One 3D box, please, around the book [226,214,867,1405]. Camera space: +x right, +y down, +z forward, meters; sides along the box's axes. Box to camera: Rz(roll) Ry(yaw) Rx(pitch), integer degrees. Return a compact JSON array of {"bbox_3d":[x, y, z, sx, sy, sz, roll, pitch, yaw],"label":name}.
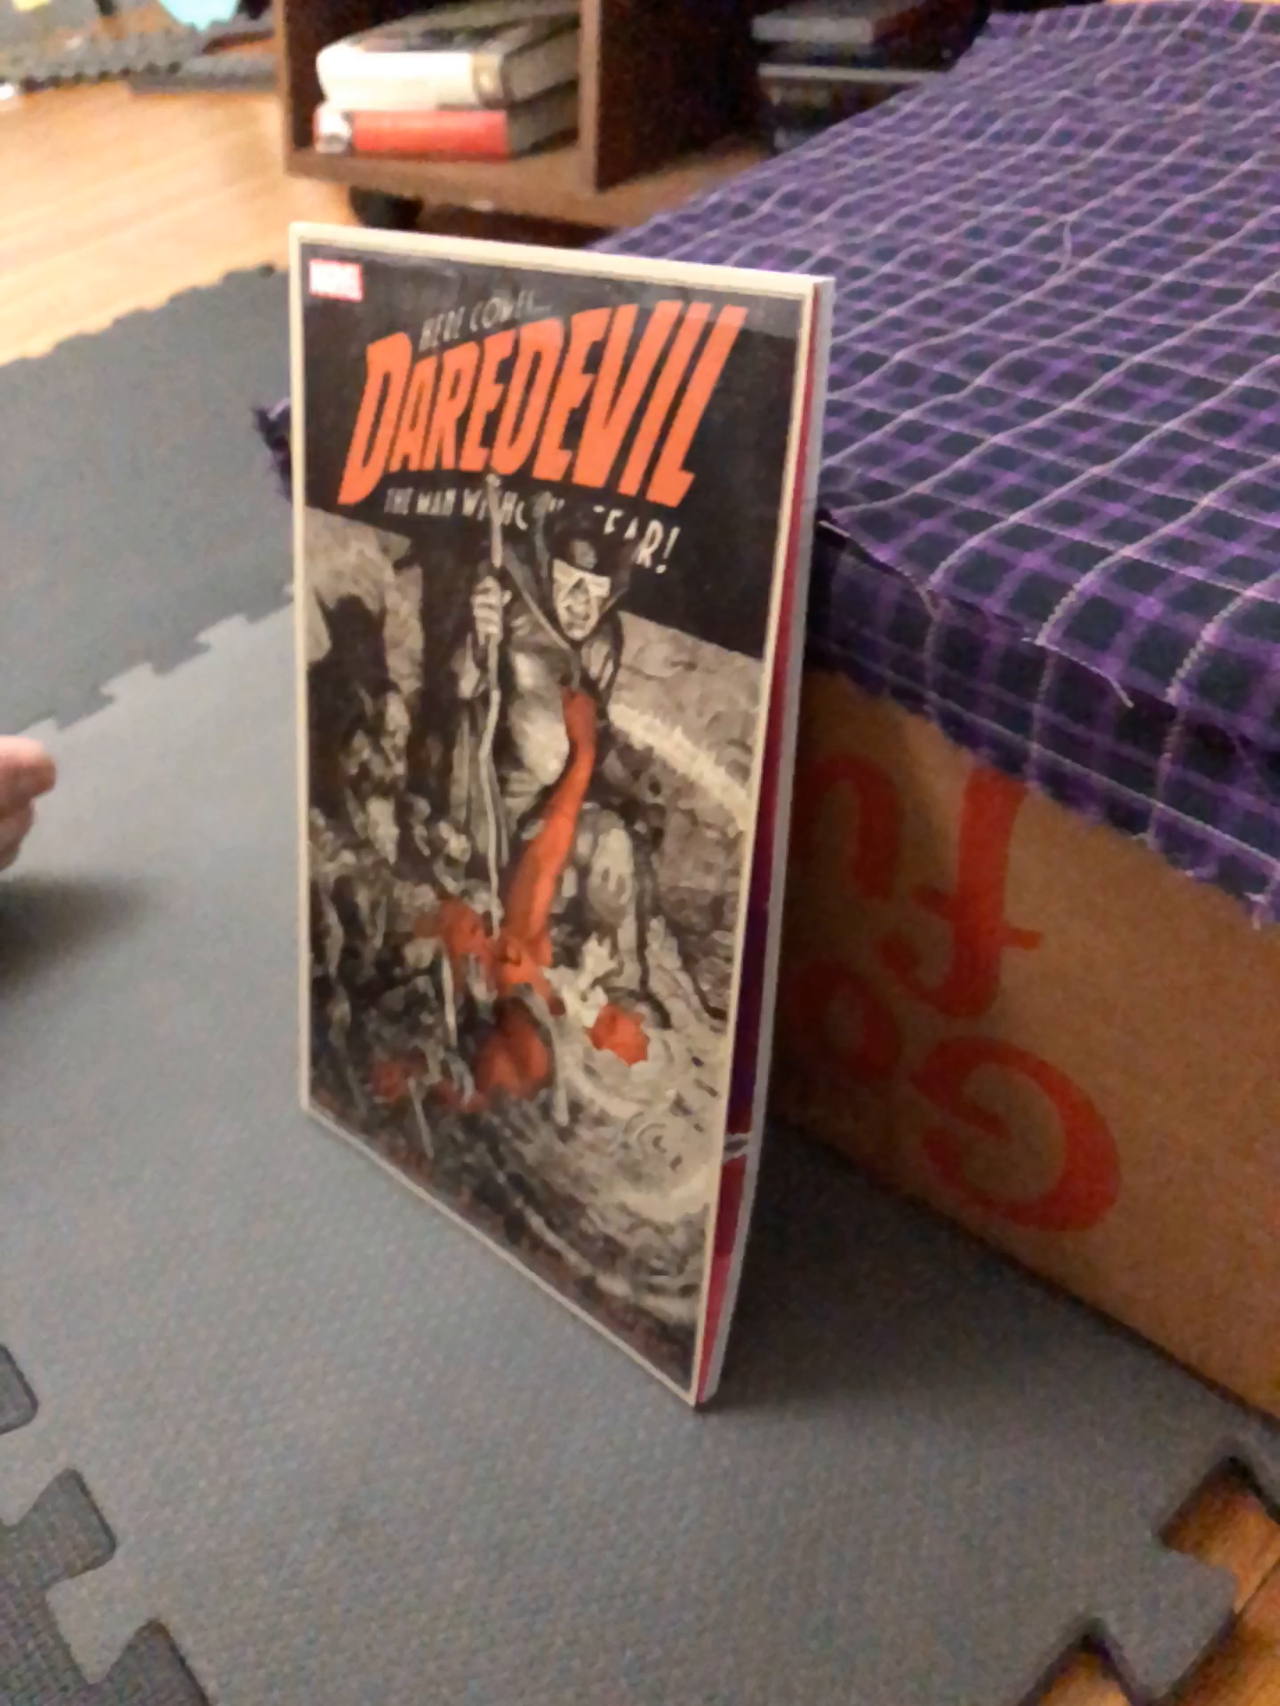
[{"bbox_3d":[-0.036,-0.014,0.321,0.161,0.229,0.020,24,30,38],"label":"book"}]
